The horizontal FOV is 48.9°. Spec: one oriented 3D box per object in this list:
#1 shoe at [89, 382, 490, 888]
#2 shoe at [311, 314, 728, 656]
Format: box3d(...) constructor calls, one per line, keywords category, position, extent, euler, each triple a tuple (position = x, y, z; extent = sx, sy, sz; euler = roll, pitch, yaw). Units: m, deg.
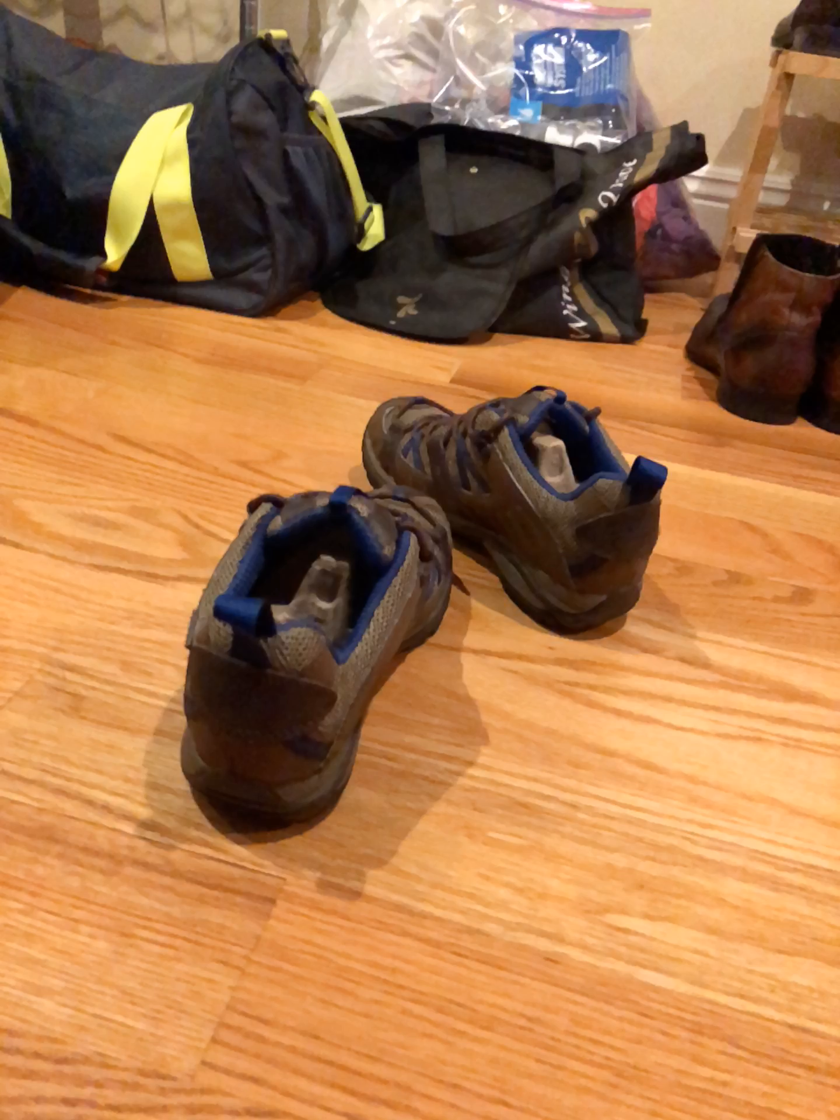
box3d(category="shoe", position=(-0.044, 0.013, 0.436), extent=(0.094, 0.106, 0.241), euler=(13, 31, 9))
box3d(category="shoe", position=(0.042, -0.061, 0.561), extent=(0.097, 0.094, 0.252), euler=(-15, 37, -34))
